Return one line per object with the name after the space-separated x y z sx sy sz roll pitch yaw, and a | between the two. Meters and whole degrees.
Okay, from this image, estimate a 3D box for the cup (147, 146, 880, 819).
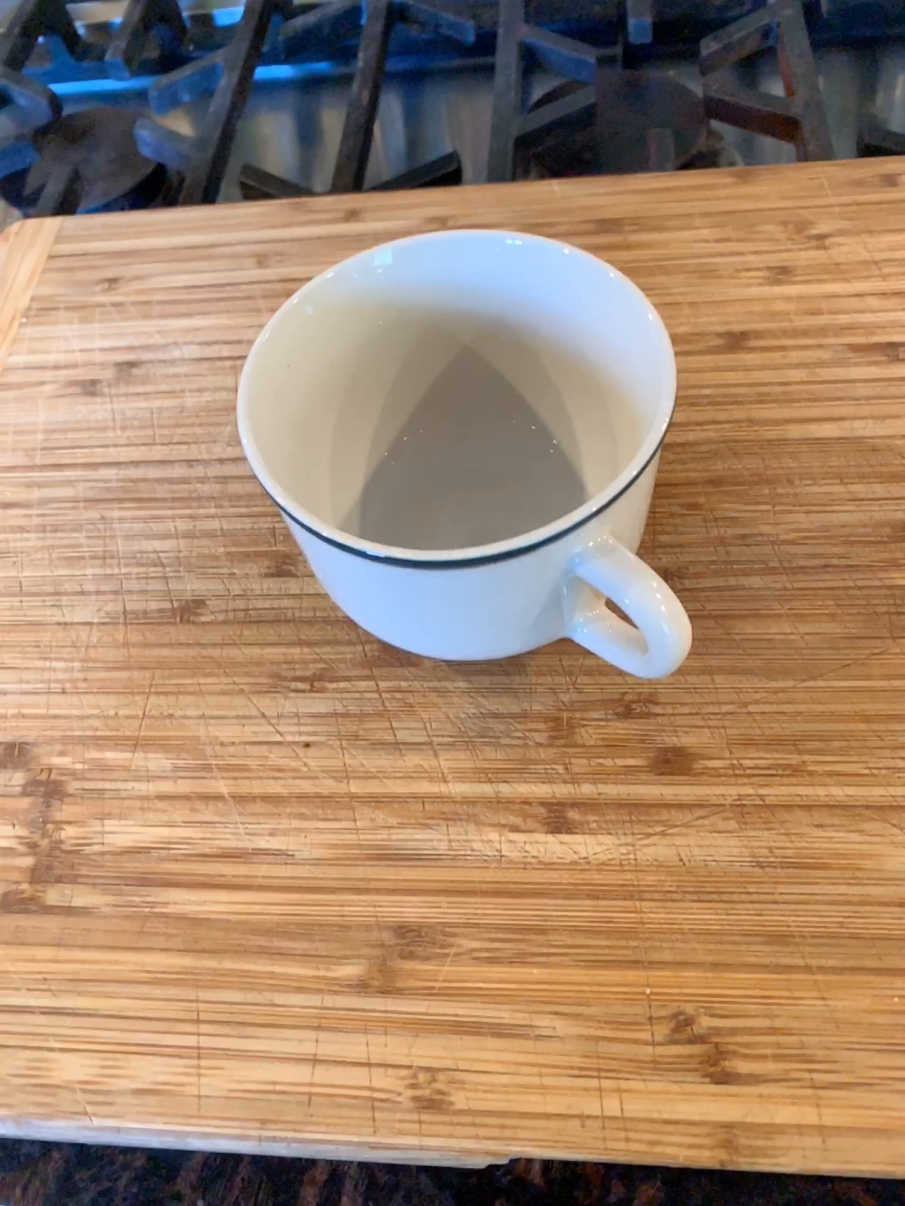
0.010 -0.033 0.216 0.090 0.060 0.120 -40 62 -16 | cup
